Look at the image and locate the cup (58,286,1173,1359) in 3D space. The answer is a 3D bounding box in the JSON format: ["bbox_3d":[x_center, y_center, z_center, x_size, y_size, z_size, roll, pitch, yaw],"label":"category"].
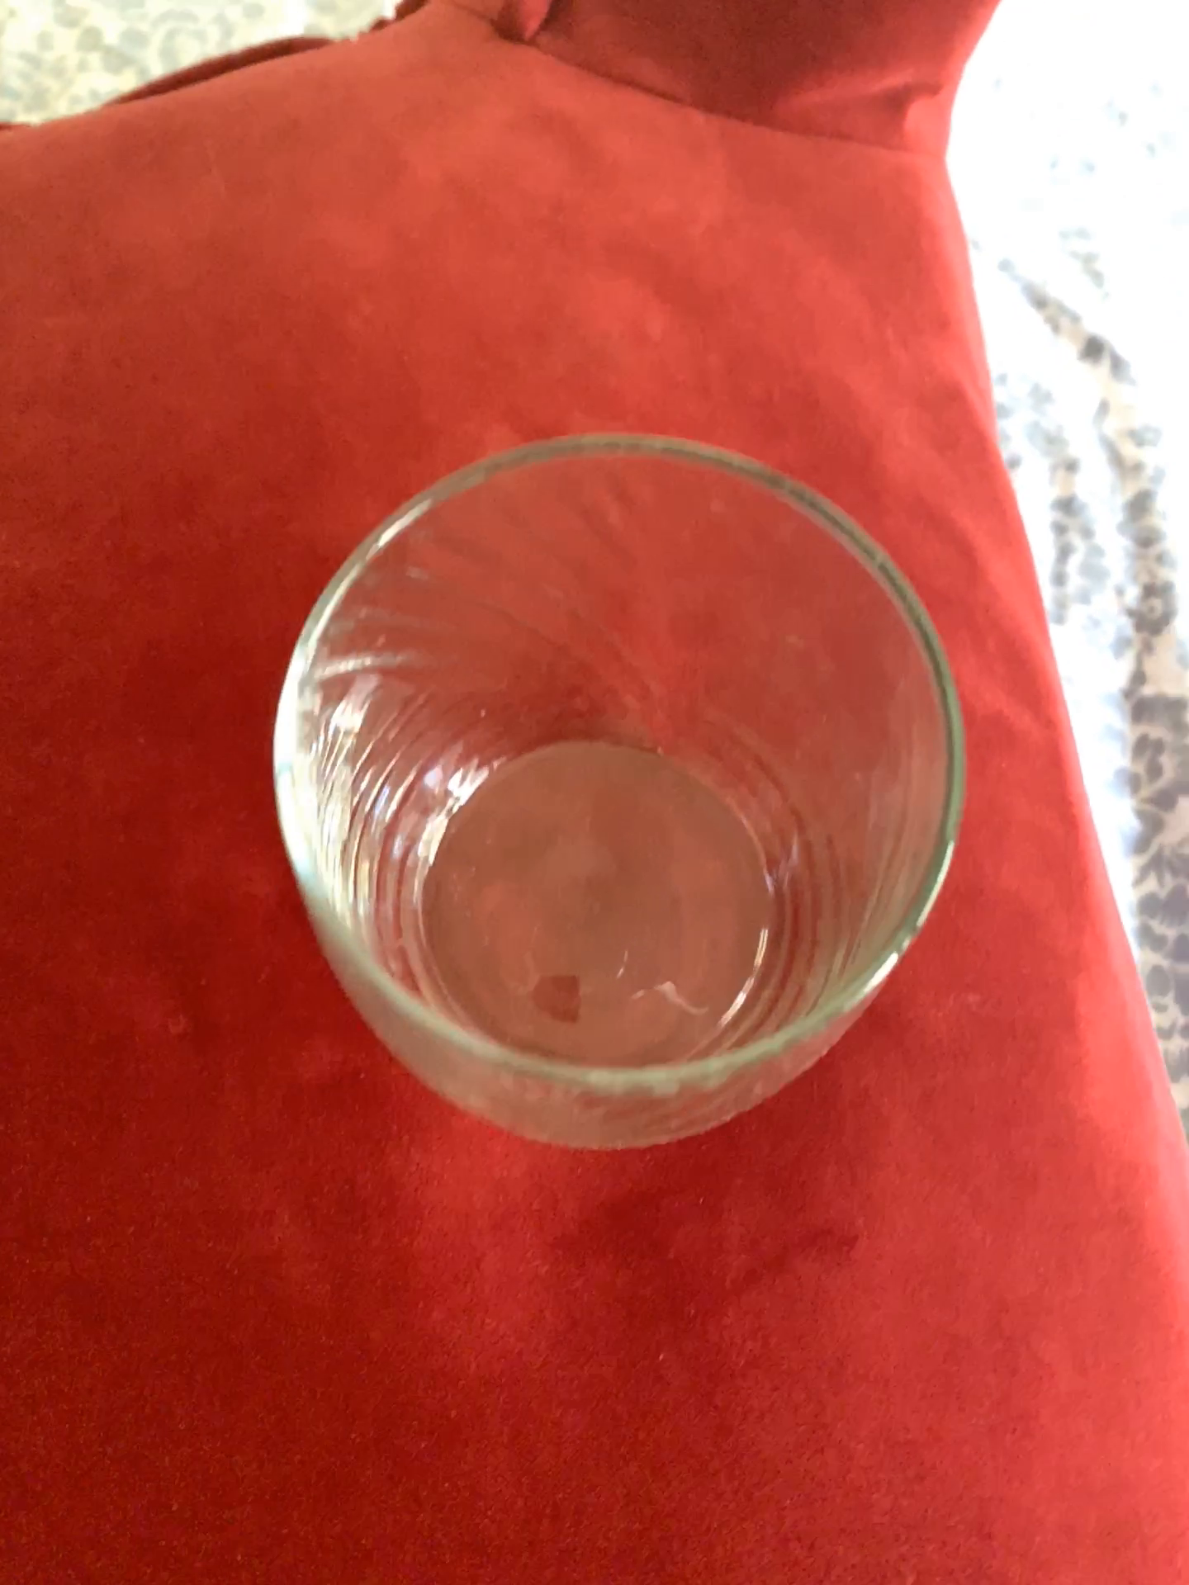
[{"bbox_3d":[0.005,0.009,0.163,0.080,0.090,0.080,0,73,1],"label":"cup"}]
